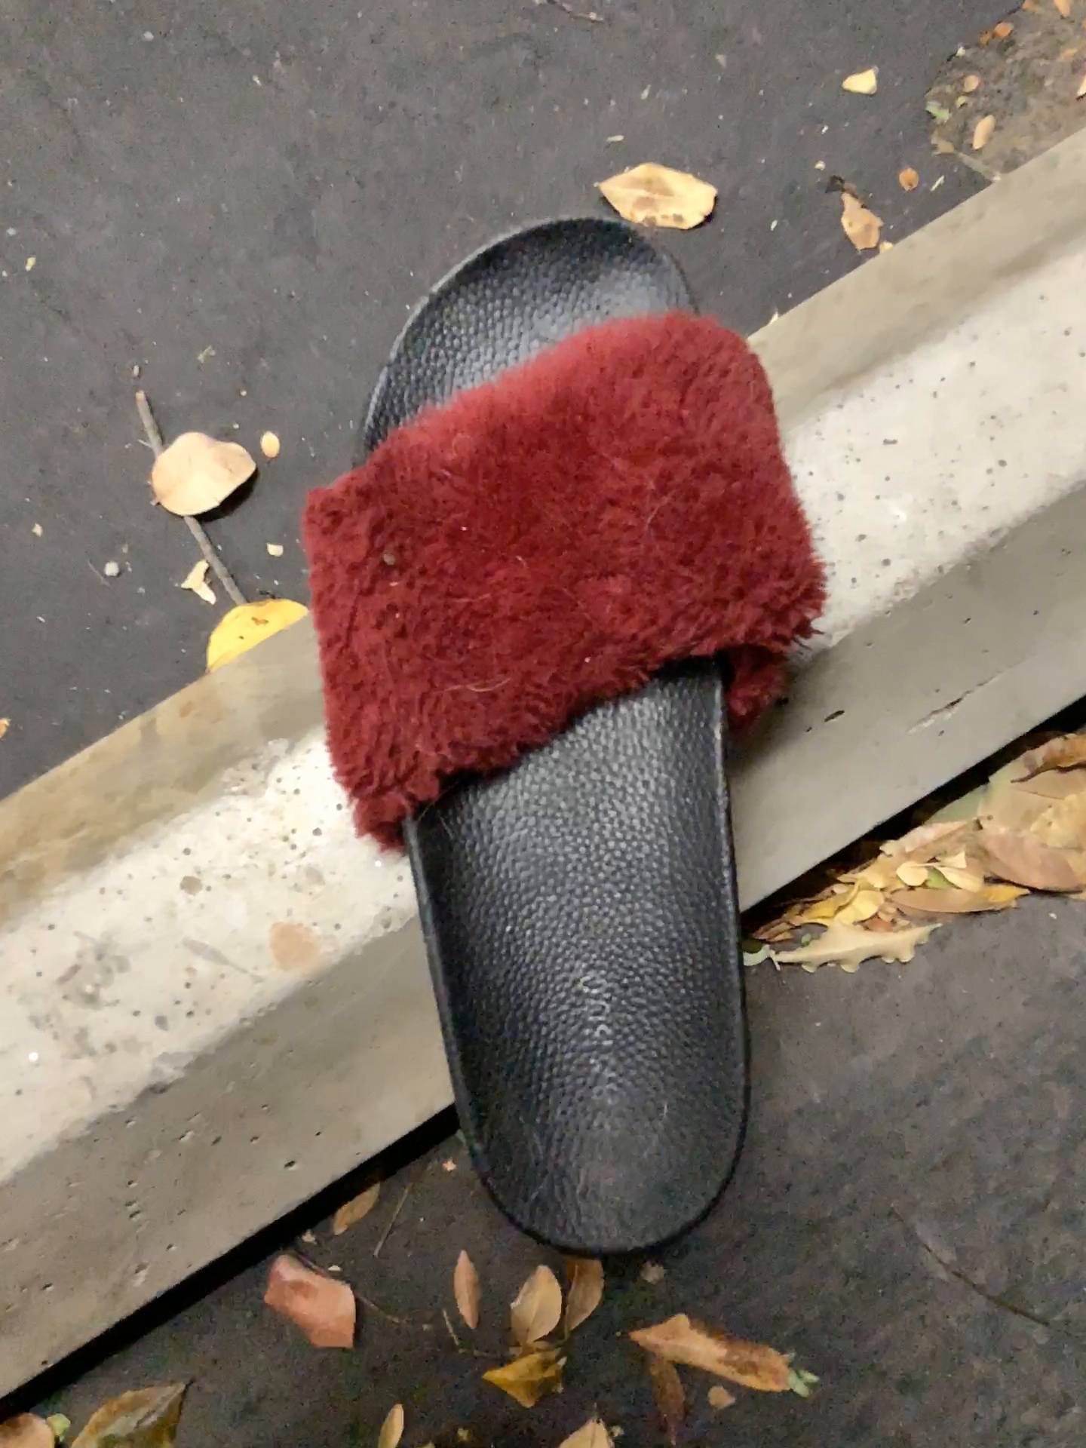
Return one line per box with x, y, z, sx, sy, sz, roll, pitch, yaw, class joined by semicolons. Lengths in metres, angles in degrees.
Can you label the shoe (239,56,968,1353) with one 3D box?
0.009;-0.009;0.292;0.140;0.050;0.280;-4;84;1;shoe
